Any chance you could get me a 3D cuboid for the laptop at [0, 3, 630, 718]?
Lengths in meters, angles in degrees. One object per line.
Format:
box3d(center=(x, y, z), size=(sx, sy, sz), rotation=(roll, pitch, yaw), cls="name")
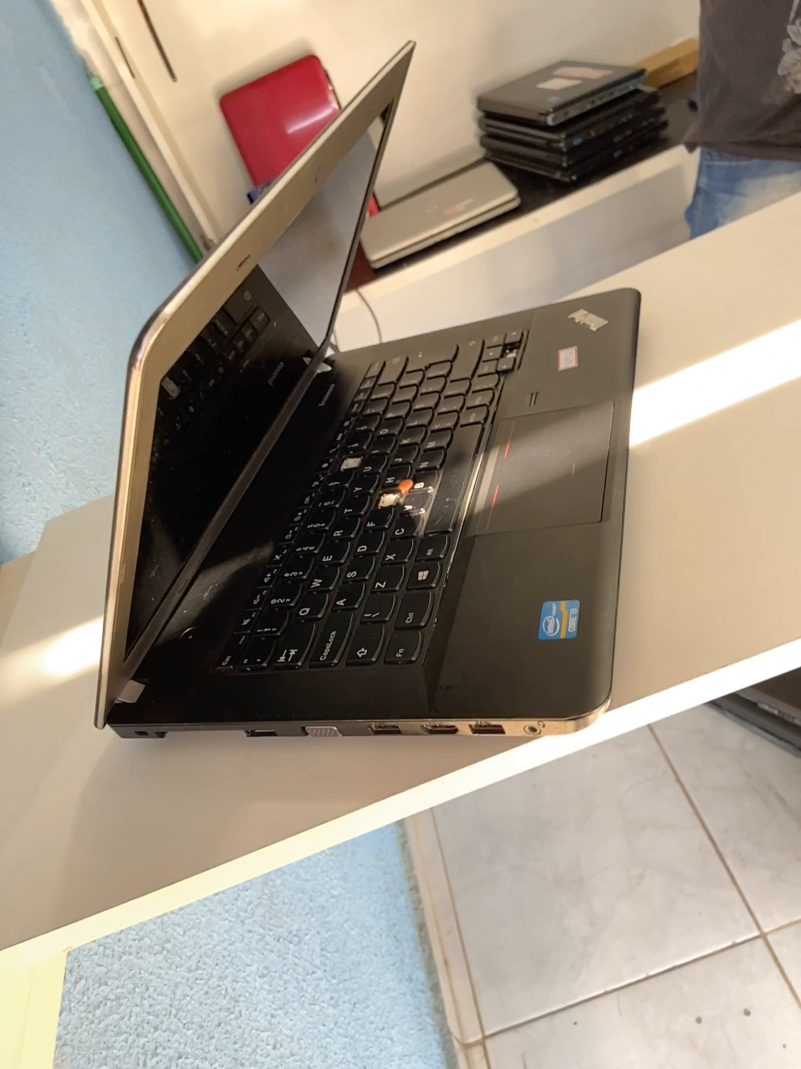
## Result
box3d(center=(-0.027, -0.097, 0.412), size=(0.230, 0.165, 0.332), rotation=(-8, 39, 25), cls="laptop")
